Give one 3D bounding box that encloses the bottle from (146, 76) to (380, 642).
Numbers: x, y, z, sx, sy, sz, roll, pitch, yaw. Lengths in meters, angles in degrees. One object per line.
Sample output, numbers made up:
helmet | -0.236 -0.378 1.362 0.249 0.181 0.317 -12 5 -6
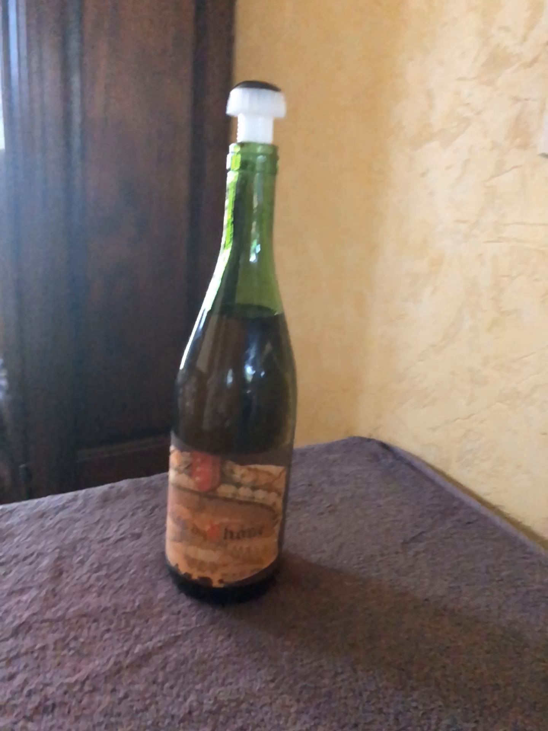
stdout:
bottle | -0.012 -0.002 0.376 0.090 0.309 0.090 4 16 -1
